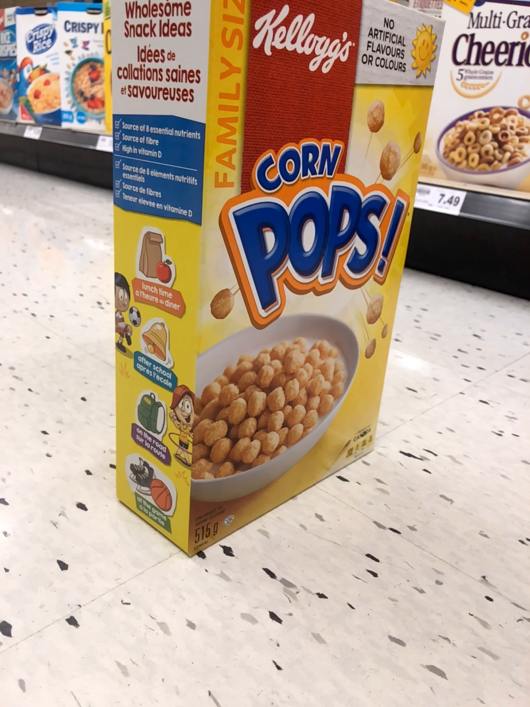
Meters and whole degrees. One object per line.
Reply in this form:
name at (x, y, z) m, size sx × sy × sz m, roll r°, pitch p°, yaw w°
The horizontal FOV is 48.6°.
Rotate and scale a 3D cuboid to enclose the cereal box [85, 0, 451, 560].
cereal box at (0.001, -0.063, 0.393) m, size 0.100 × 0.318 × 0.201 m, roll 23°, pitch 27°, yaw 38°
